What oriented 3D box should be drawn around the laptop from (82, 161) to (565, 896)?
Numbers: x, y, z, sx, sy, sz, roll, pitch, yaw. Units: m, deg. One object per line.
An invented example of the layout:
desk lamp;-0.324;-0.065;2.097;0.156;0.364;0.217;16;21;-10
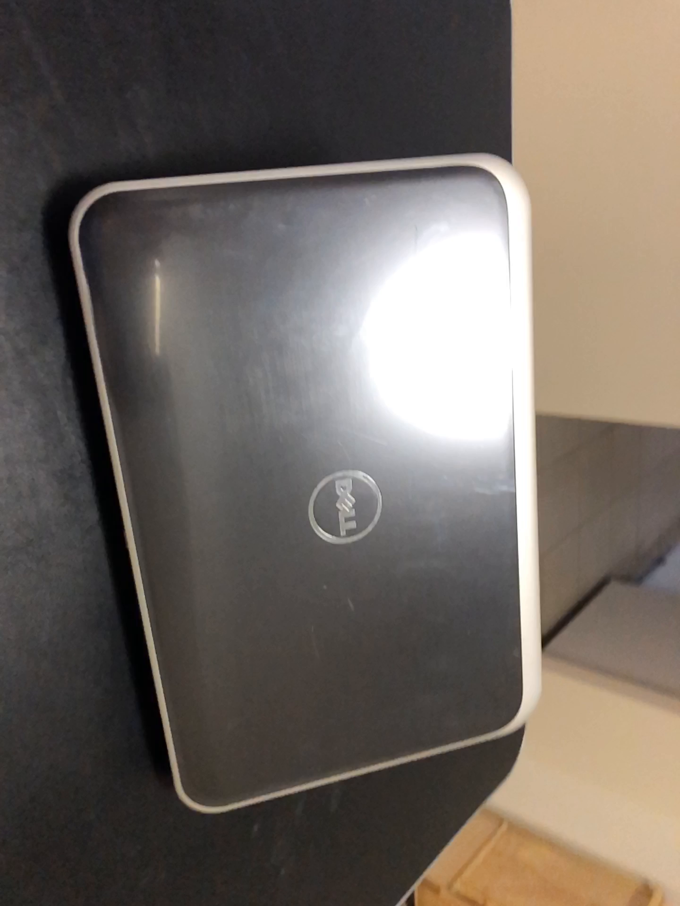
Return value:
laptop;0.019;0.017;0.467;0.241;0.137;0.356;-24;114;-45
